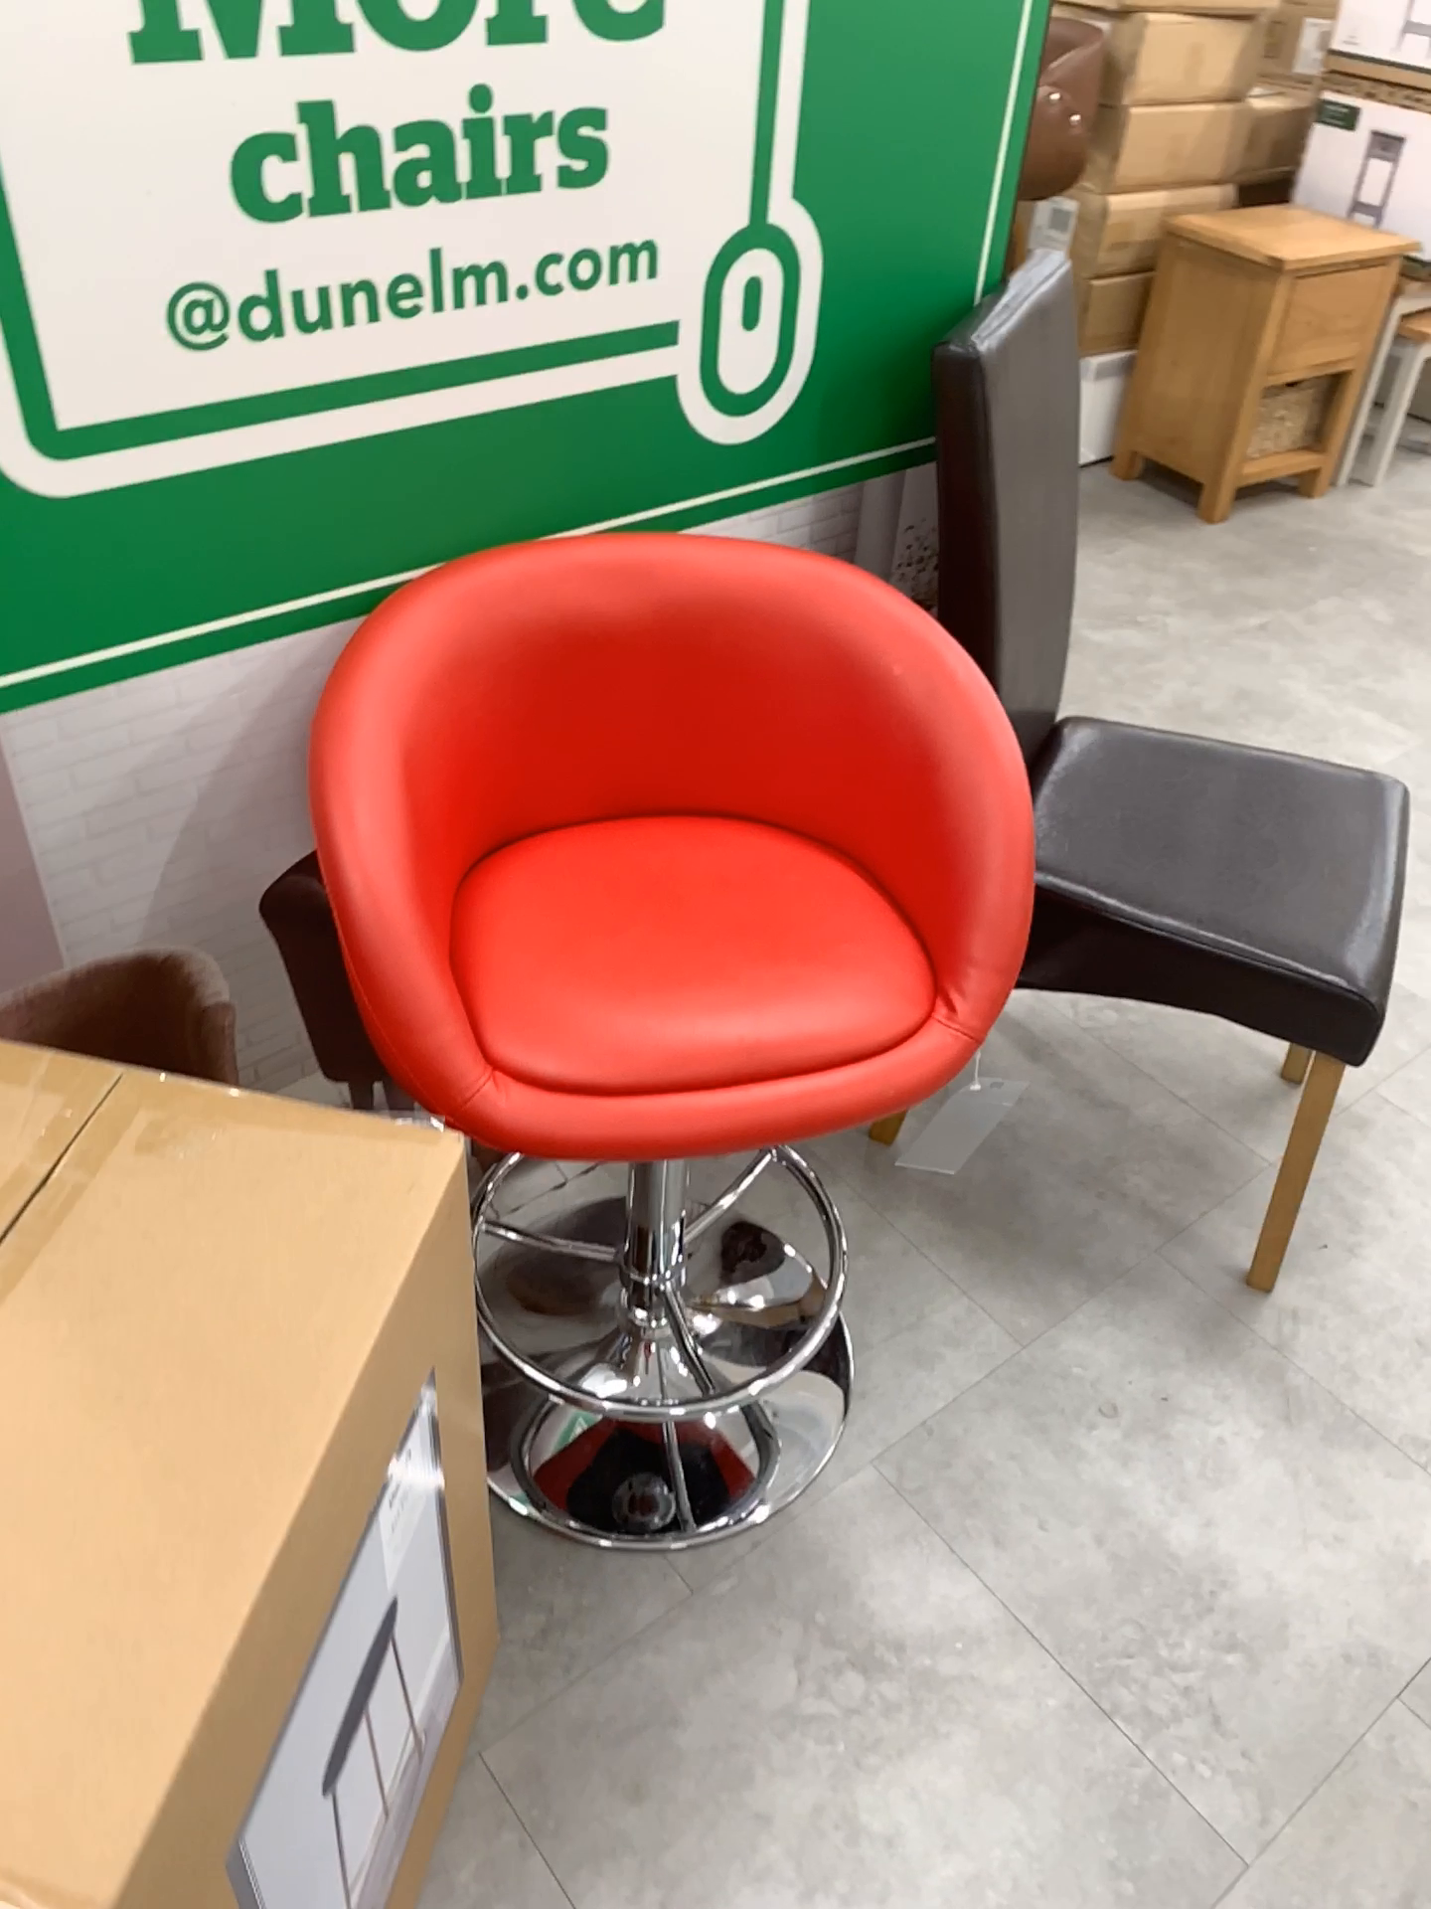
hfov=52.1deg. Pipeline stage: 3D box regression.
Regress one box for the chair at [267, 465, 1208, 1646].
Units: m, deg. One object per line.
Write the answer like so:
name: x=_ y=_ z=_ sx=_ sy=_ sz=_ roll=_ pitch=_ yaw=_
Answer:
chair: x=-0.041 y=0.080 z=1.195 sx=0.495 sy=0.761 sz=0.481 roll=-9 pitch=40 yaw=-15

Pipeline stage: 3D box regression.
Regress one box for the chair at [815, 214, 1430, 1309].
chair: x=0.466 y=-0.182 z=1.514 sx=0.518 sy=0.919 sz=0.448 roll=18 pitch=41 yaw=17
